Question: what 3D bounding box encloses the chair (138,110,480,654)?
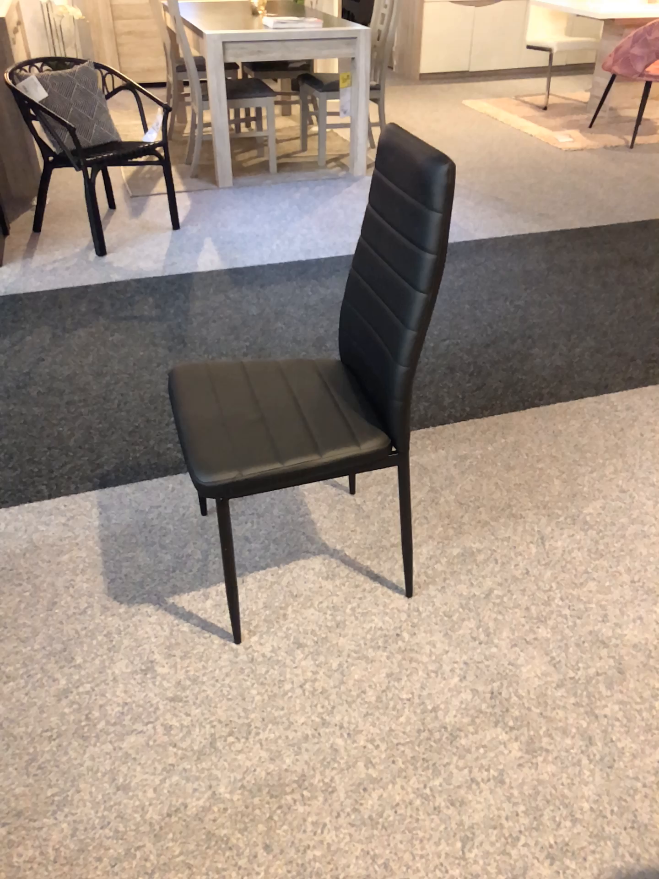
[{"bbox_3d":[-0.067,-0.107,1.462,0.471,0.934,0.472,-9,36,-12],"label":"chair"}]
